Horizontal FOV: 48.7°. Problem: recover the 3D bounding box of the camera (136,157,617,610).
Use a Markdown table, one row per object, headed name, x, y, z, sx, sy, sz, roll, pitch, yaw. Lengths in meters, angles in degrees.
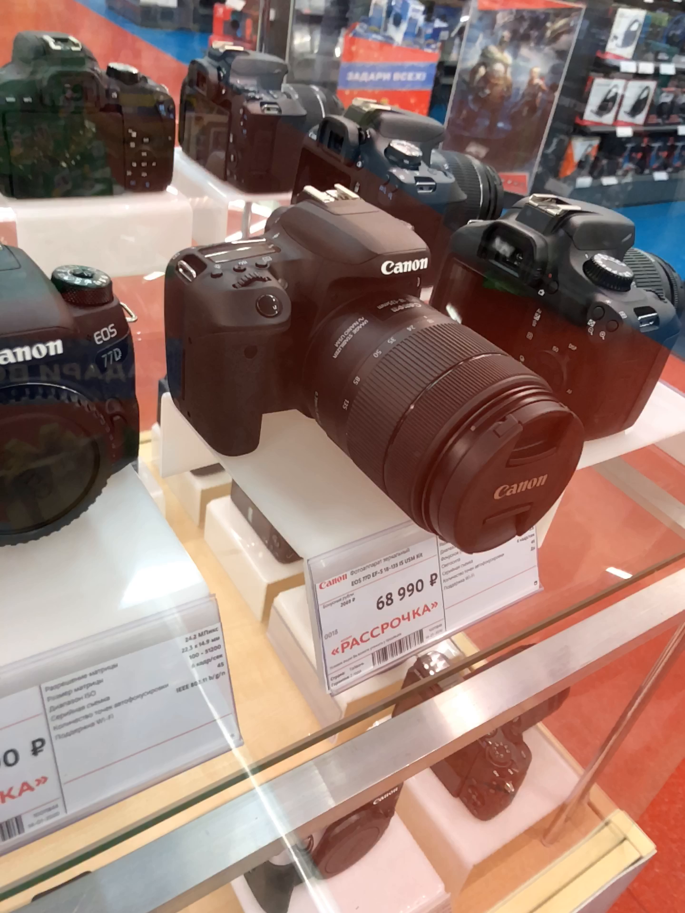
| name | x | y | z | sx | sy | sz | roll | pitch | yaw |
| --- | --- | --- | --- | --- | --- | --- | --- | --- | --- |
| camera | 0.001 | -0.049 | 0.354 | 0.132 | 0.119 | 0.168 | -17 | 45 | -32 |
